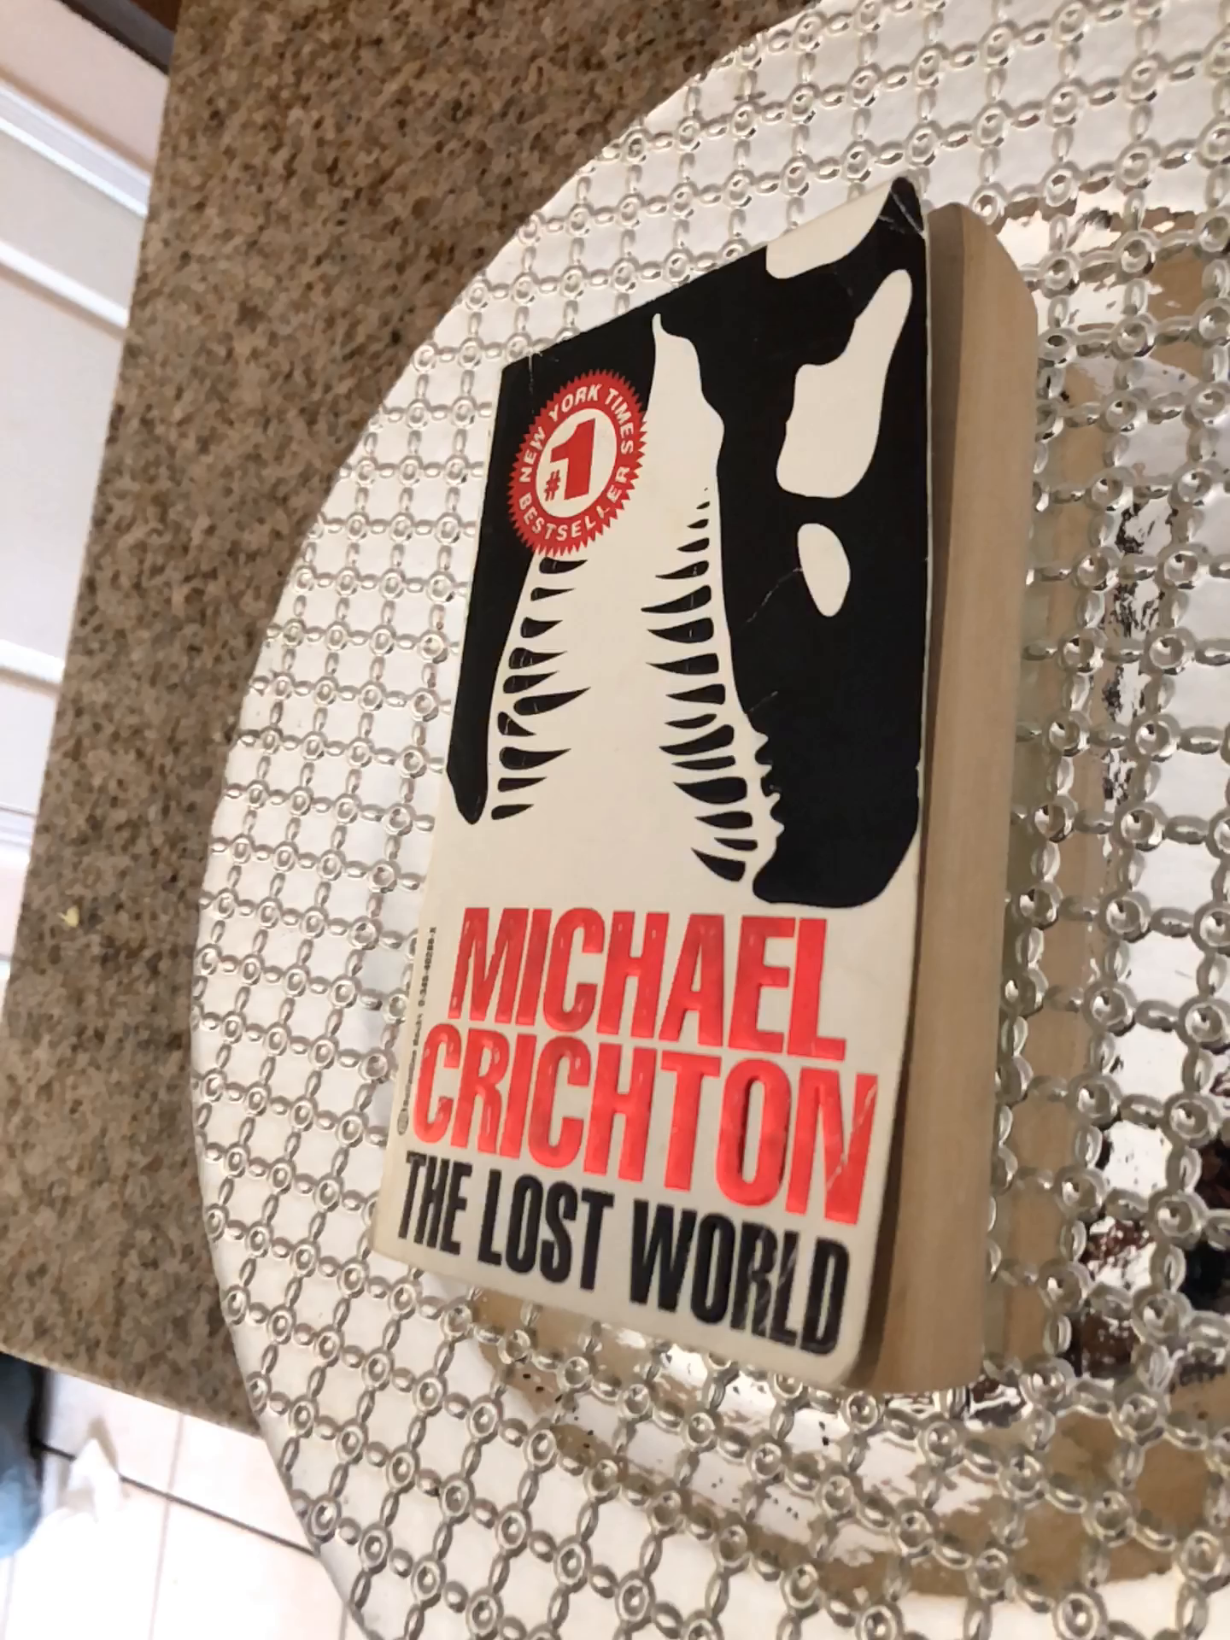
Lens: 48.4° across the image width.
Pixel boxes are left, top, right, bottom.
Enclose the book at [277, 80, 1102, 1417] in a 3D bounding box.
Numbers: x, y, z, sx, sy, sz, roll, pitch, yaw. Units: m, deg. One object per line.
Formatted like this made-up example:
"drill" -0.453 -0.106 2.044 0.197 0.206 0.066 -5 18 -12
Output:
"book" 0.011 -0.012 0.233 0.119 0.040 0.182 -1 76 40
